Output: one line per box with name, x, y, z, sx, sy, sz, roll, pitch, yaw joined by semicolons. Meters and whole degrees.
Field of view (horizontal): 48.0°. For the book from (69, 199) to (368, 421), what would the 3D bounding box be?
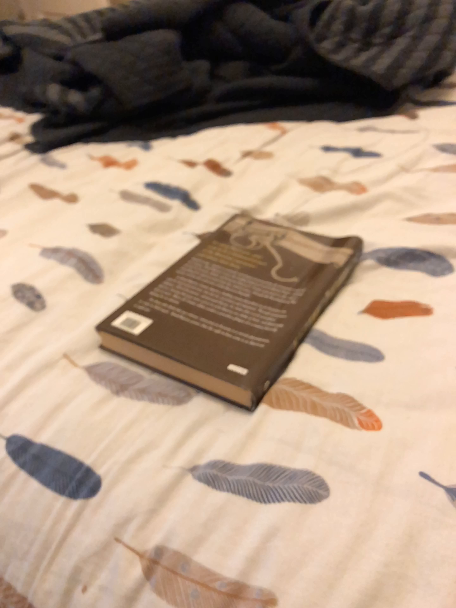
book;0.003;-0.018;0.487;0.180;0.030;0.241;18;45;28
